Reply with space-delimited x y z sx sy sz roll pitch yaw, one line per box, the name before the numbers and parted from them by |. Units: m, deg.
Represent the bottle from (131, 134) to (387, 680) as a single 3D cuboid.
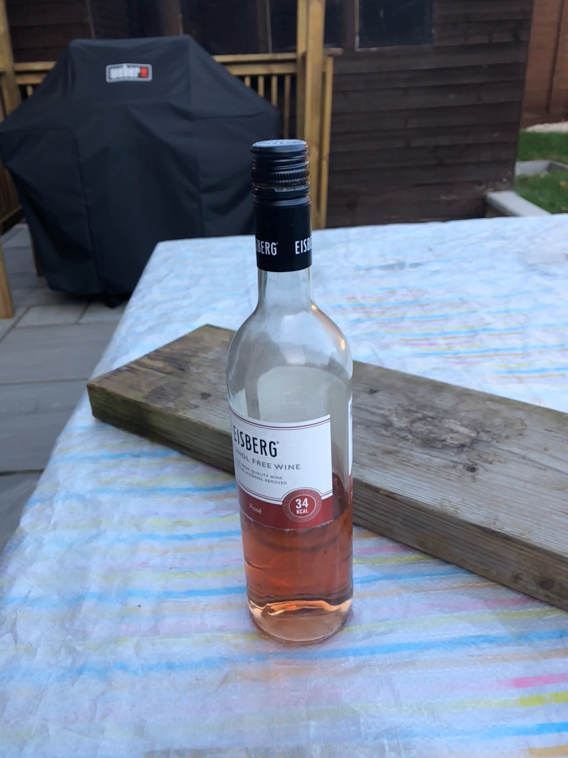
bottle | -0.004 0.020 0.357 0.090 0.288 0.080 16 32 35
